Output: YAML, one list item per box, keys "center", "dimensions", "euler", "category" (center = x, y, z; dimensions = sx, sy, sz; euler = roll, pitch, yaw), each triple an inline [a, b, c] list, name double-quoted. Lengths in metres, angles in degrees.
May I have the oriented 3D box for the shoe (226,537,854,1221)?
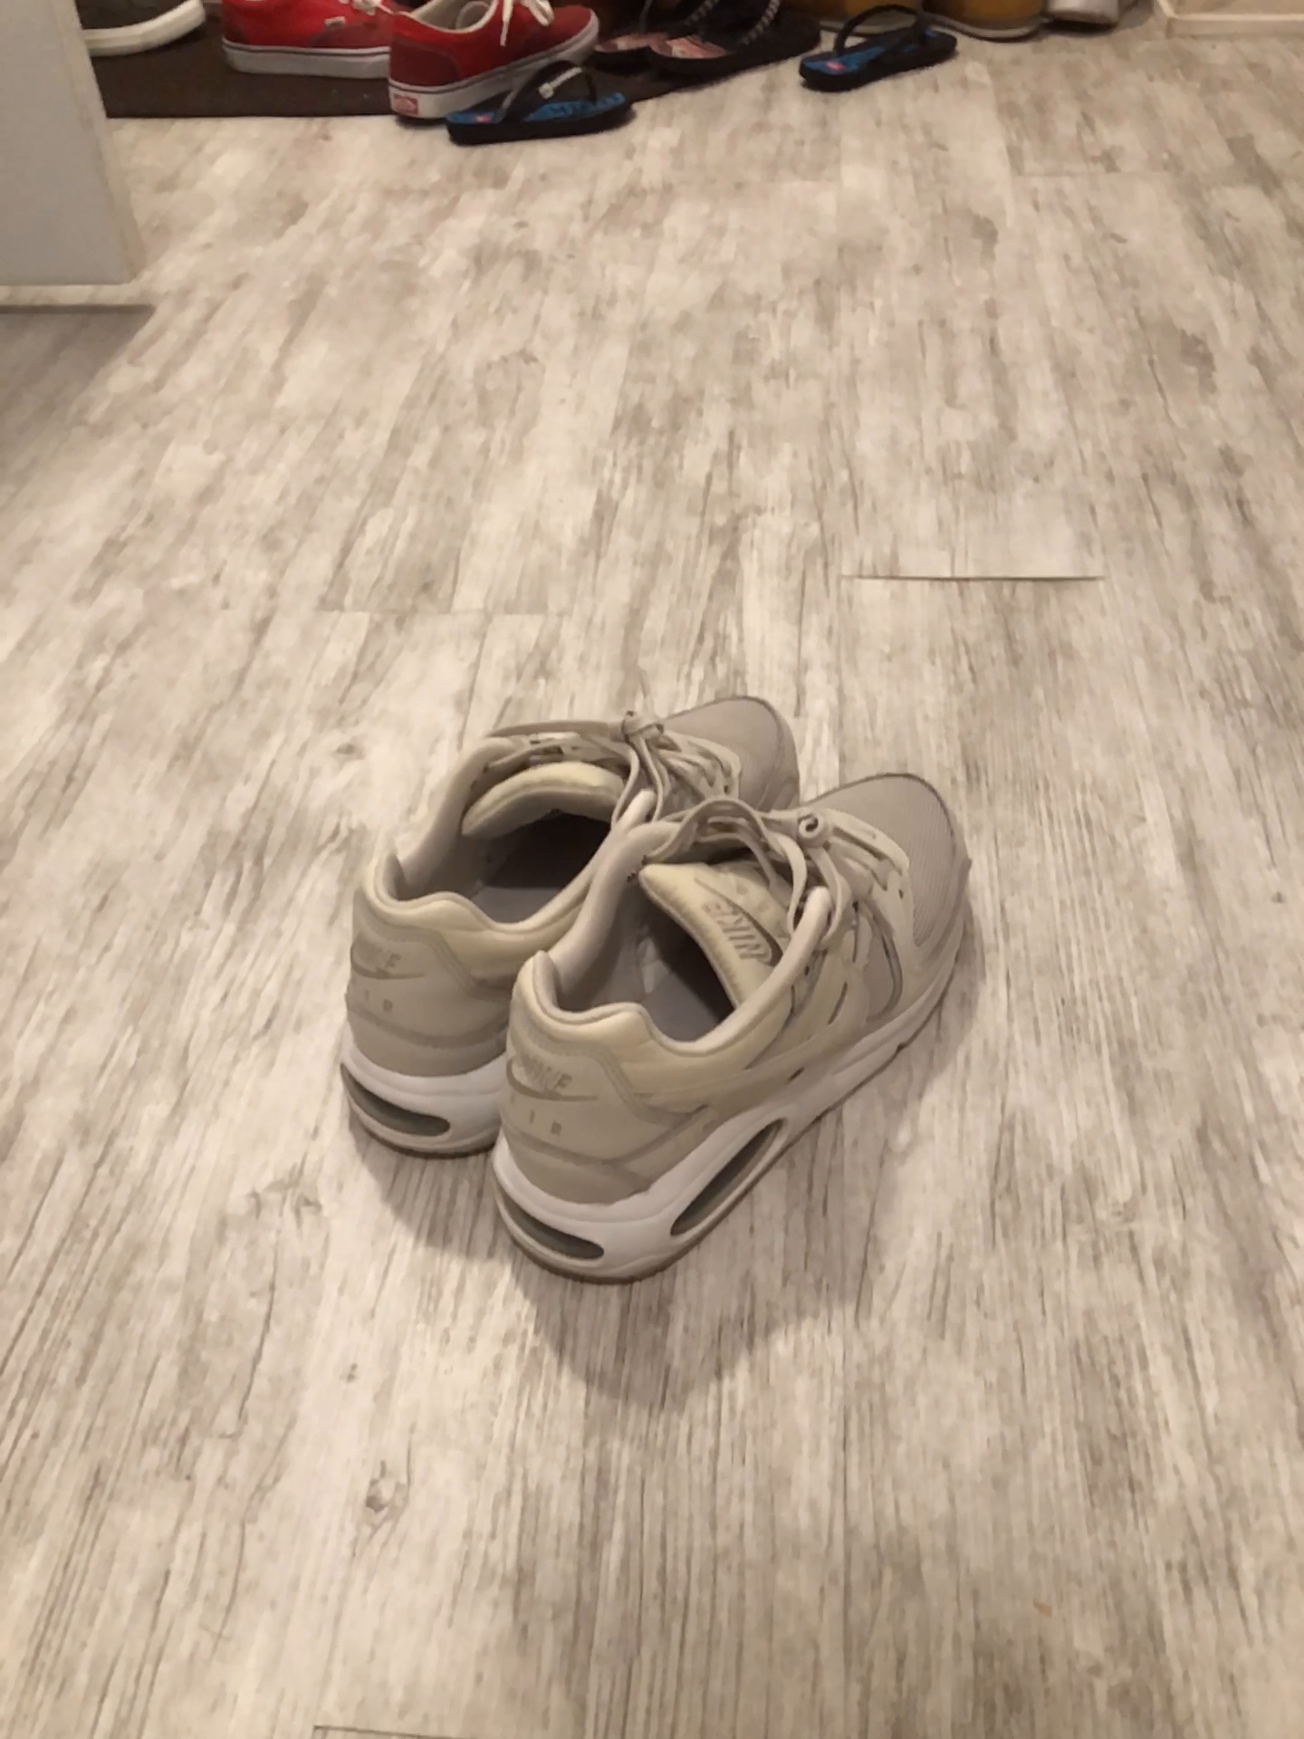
- center: [-0.027, -0.009, 0.570]
  dimensions: [0.100, 0.120, 0.250]
  euler: [24, 51, 26]
  category: "shoe"

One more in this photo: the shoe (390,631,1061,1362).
- center: [0.038, 0.035, 0.529]
  dimensions: [0.090, 0.120, 0.250]
  euler: [30, 54, 30]
  category: "shoe"
